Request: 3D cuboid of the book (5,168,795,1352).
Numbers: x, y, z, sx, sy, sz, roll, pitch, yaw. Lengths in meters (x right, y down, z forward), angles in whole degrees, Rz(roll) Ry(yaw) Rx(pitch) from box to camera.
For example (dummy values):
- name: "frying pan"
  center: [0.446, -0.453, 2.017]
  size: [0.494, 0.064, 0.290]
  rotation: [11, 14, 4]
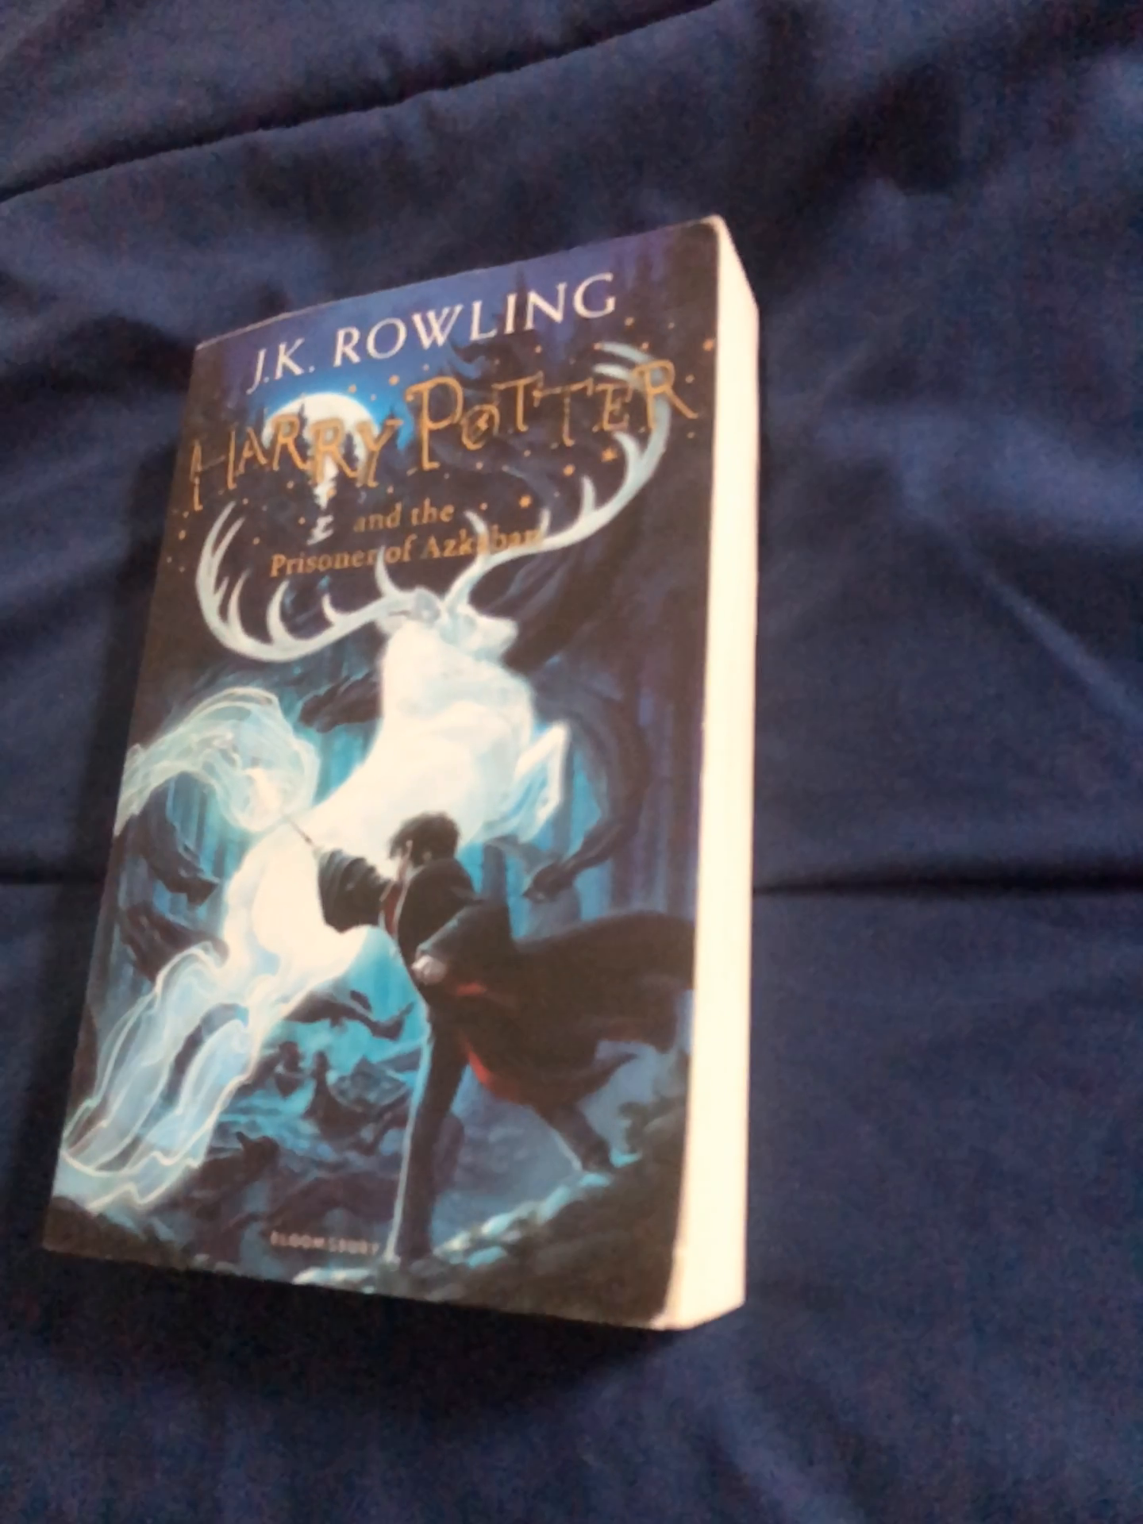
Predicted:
- name: "book"
  center: [-0.029, -0.004, 0.252]
  size: [0.134, 0.045, 0.200]
  rotation: [-3, 74, 24]
